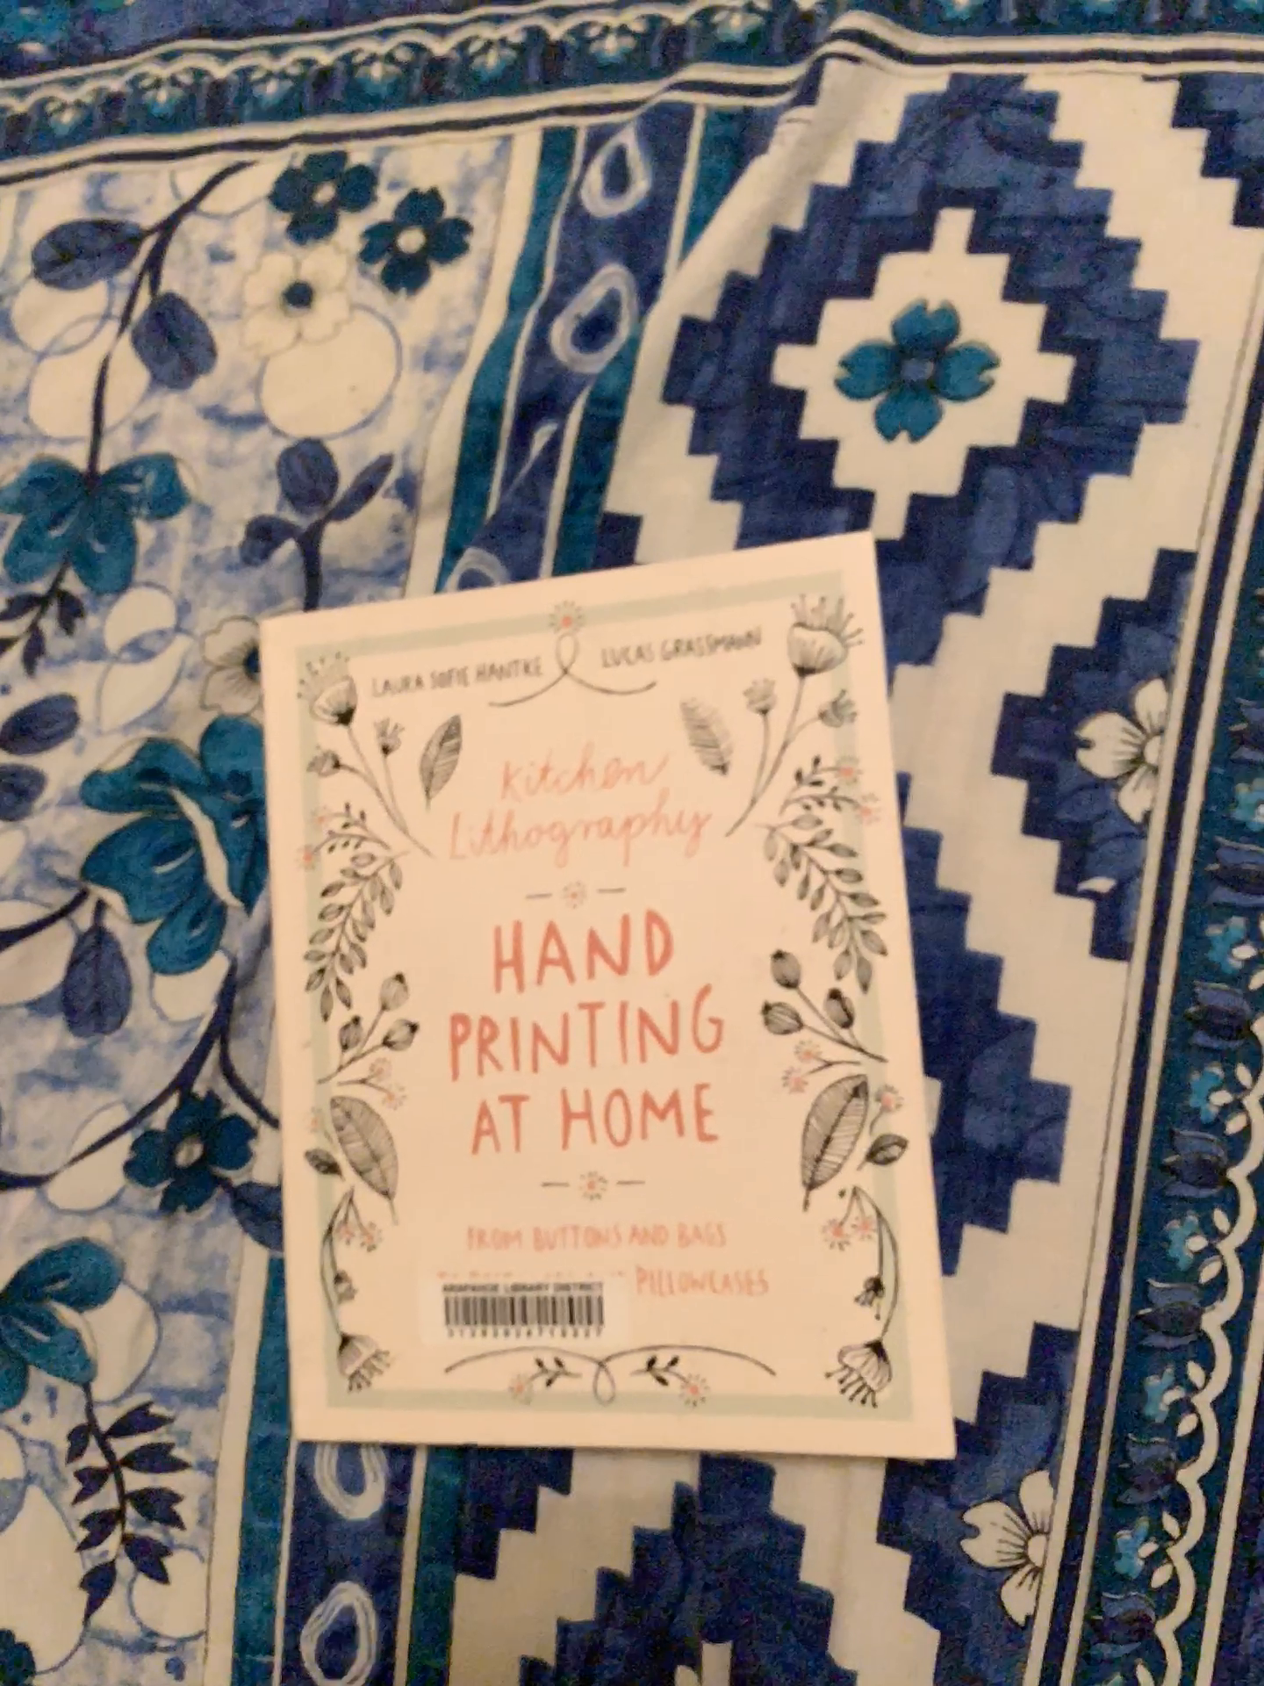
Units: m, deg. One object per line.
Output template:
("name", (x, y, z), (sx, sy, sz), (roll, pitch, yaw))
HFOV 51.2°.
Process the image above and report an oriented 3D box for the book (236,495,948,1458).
("book", (-0.017, 0.034, 0.333), (0.170, 0.020, 0.220), (-5, 82, 15))
